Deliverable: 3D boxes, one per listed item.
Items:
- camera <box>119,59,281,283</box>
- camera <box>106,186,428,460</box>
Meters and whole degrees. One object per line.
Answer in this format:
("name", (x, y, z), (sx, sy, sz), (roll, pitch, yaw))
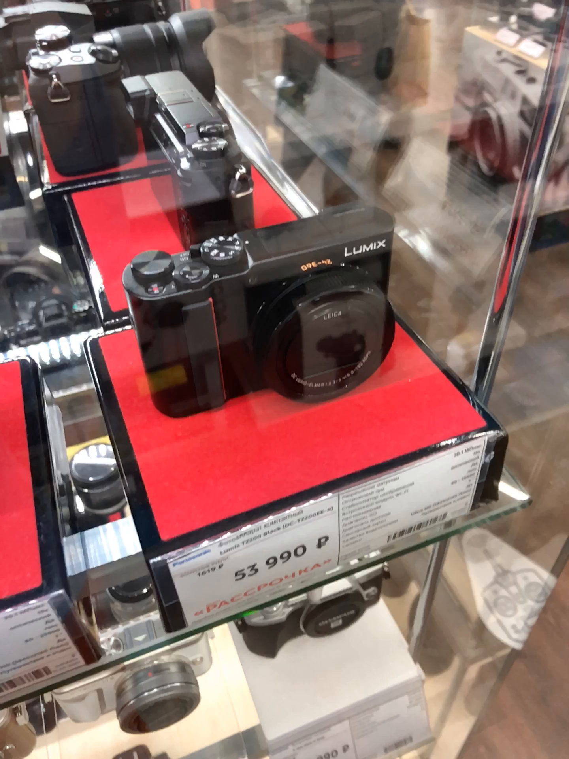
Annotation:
("camera", (-0.047, -0.119, 0.352), (0.054, 0.076, 0.102), (-17, 45, -15))
("camera", (-0.006, -0.025, 0.262), (0.110, 0.070, 0.052), (-17, 45, -15))
